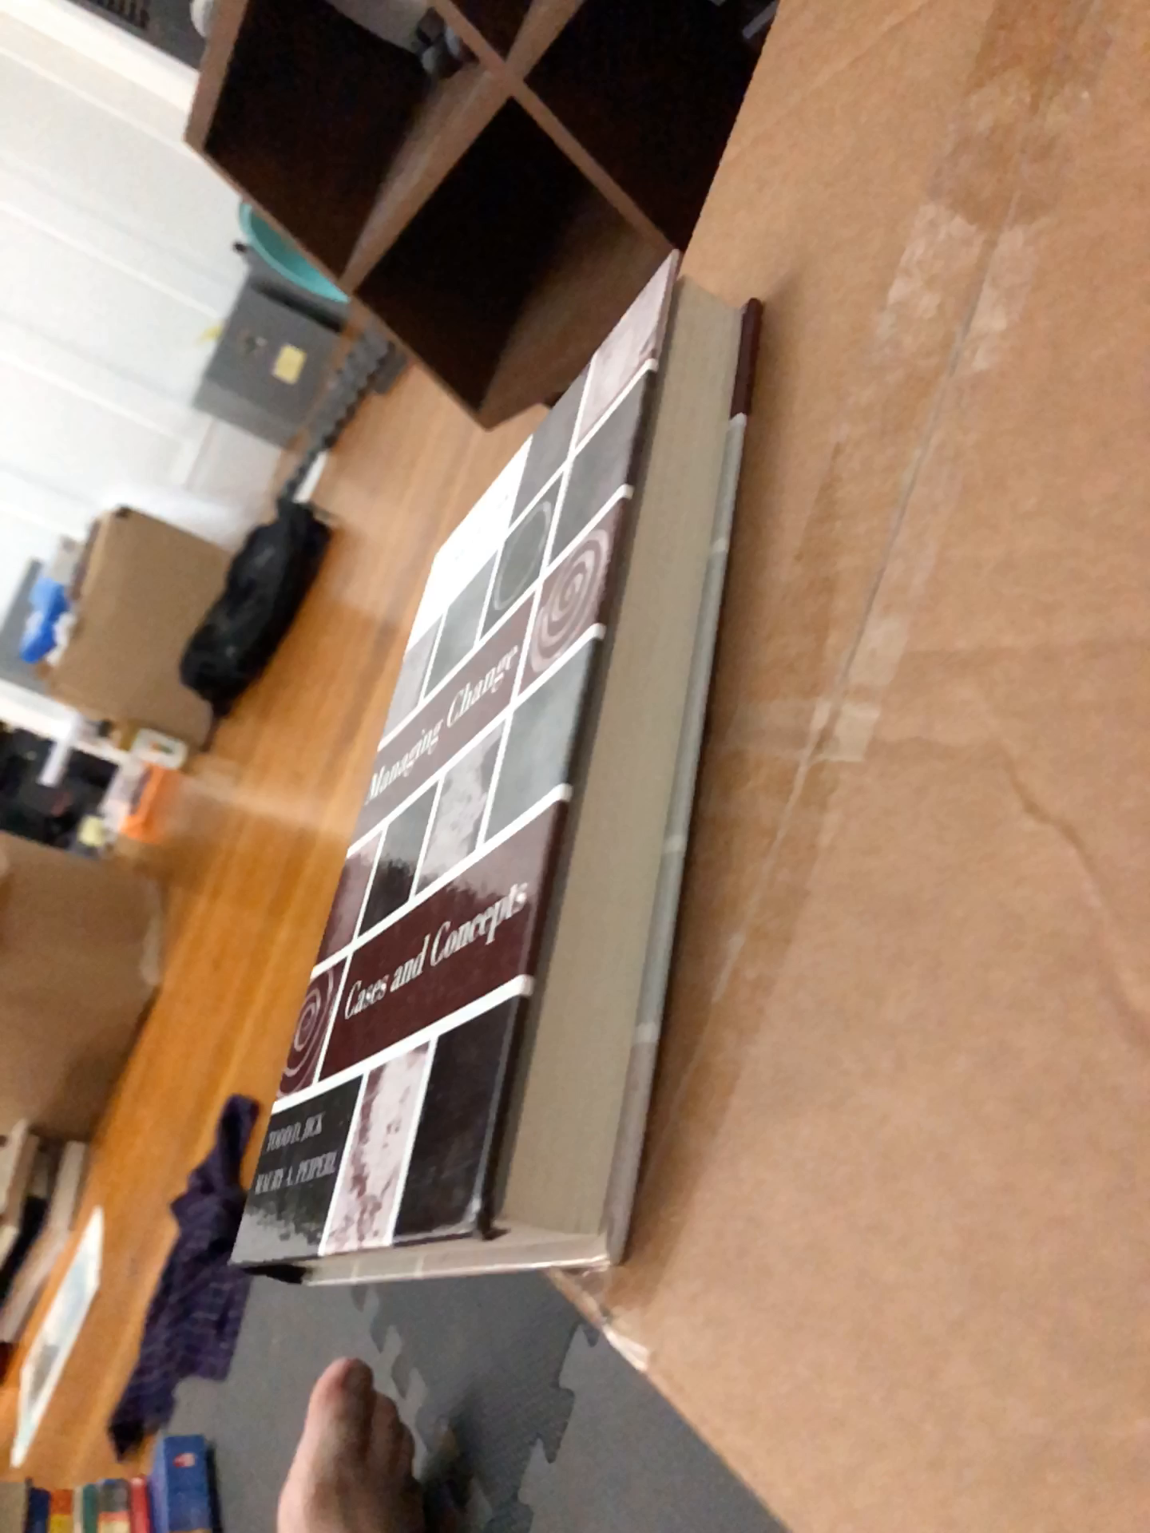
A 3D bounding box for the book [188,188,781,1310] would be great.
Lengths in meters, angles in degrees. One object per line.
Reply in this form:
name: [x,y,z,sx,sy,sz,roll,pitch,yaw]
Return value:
book: [-0.025,0.003,0.330,0.180,0.030,0.250,-35,38,53]
